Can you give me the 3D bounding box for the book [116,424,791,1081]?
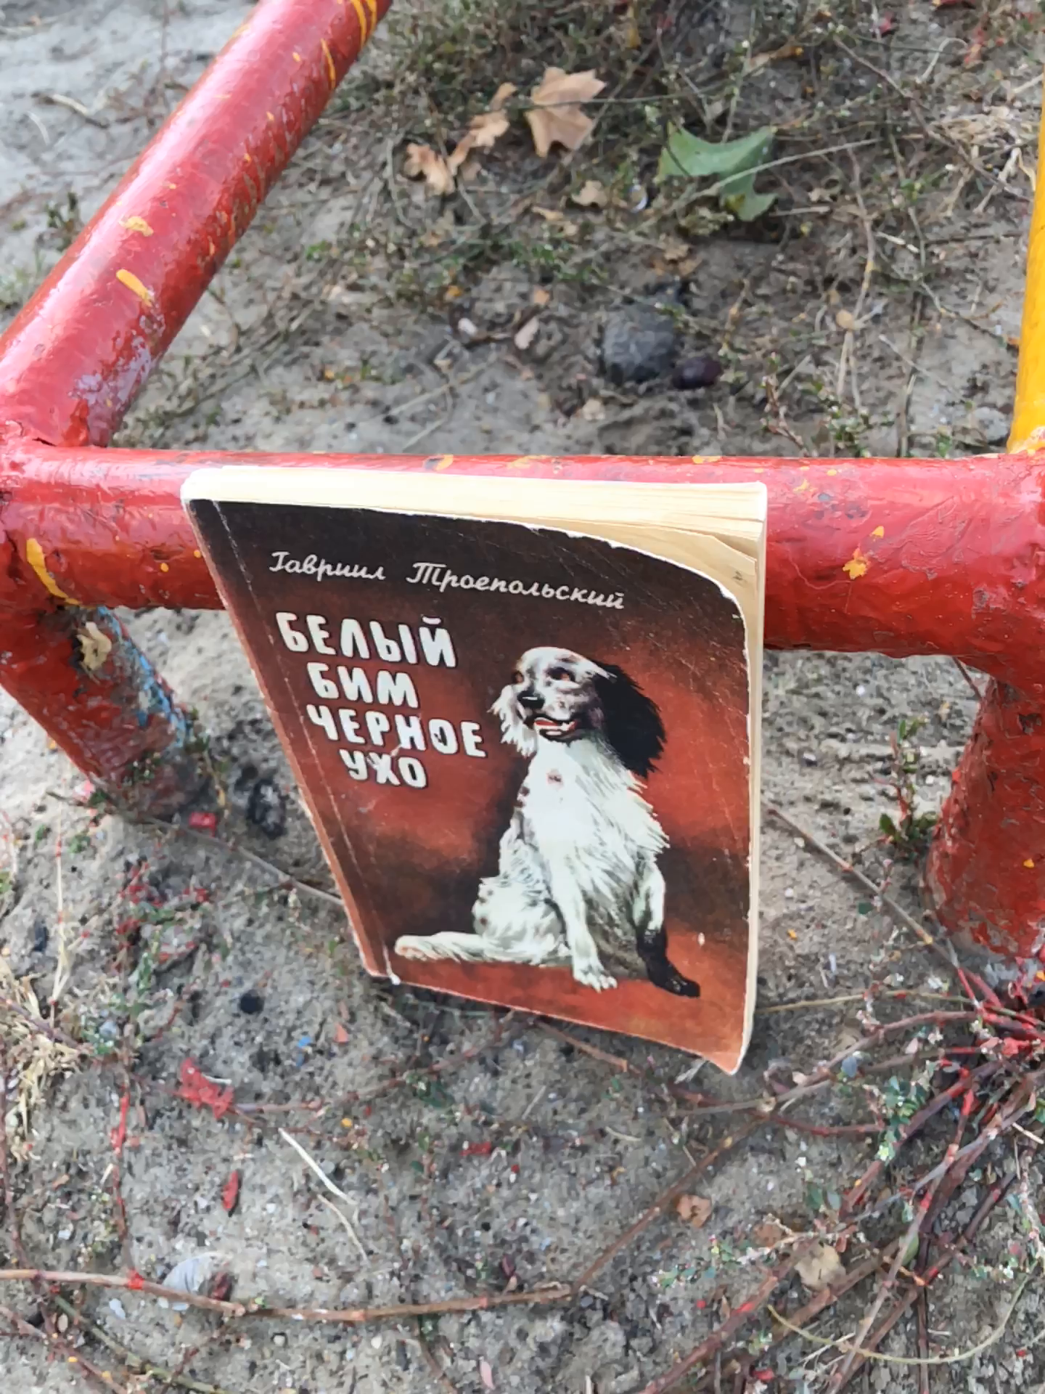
[{"bbox_3d":[-0.001,0.026,0.295,0.130,0.196,0.030,8,50,19],"label":"book"}]
